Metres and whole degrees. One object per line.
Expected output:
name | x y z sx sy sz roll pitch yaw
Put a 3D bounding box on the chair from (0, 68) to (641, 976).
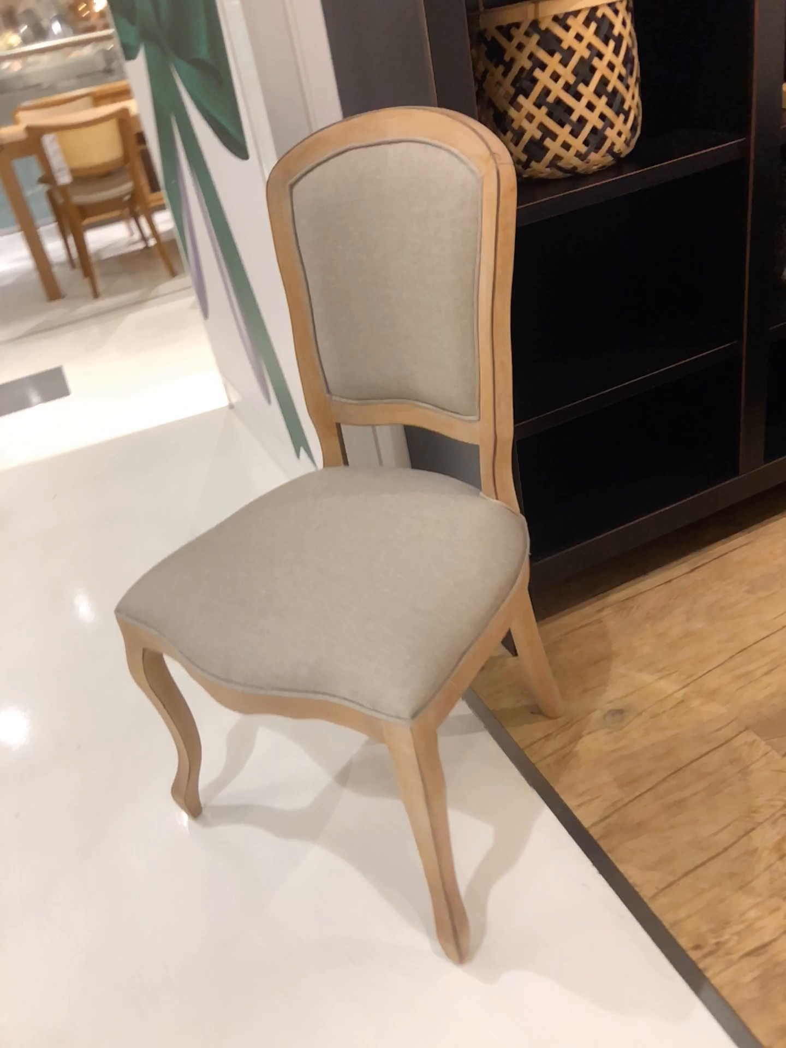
chair | -0.079 -0.031 1.135 0.601 0.873 0.553 12 39 34
